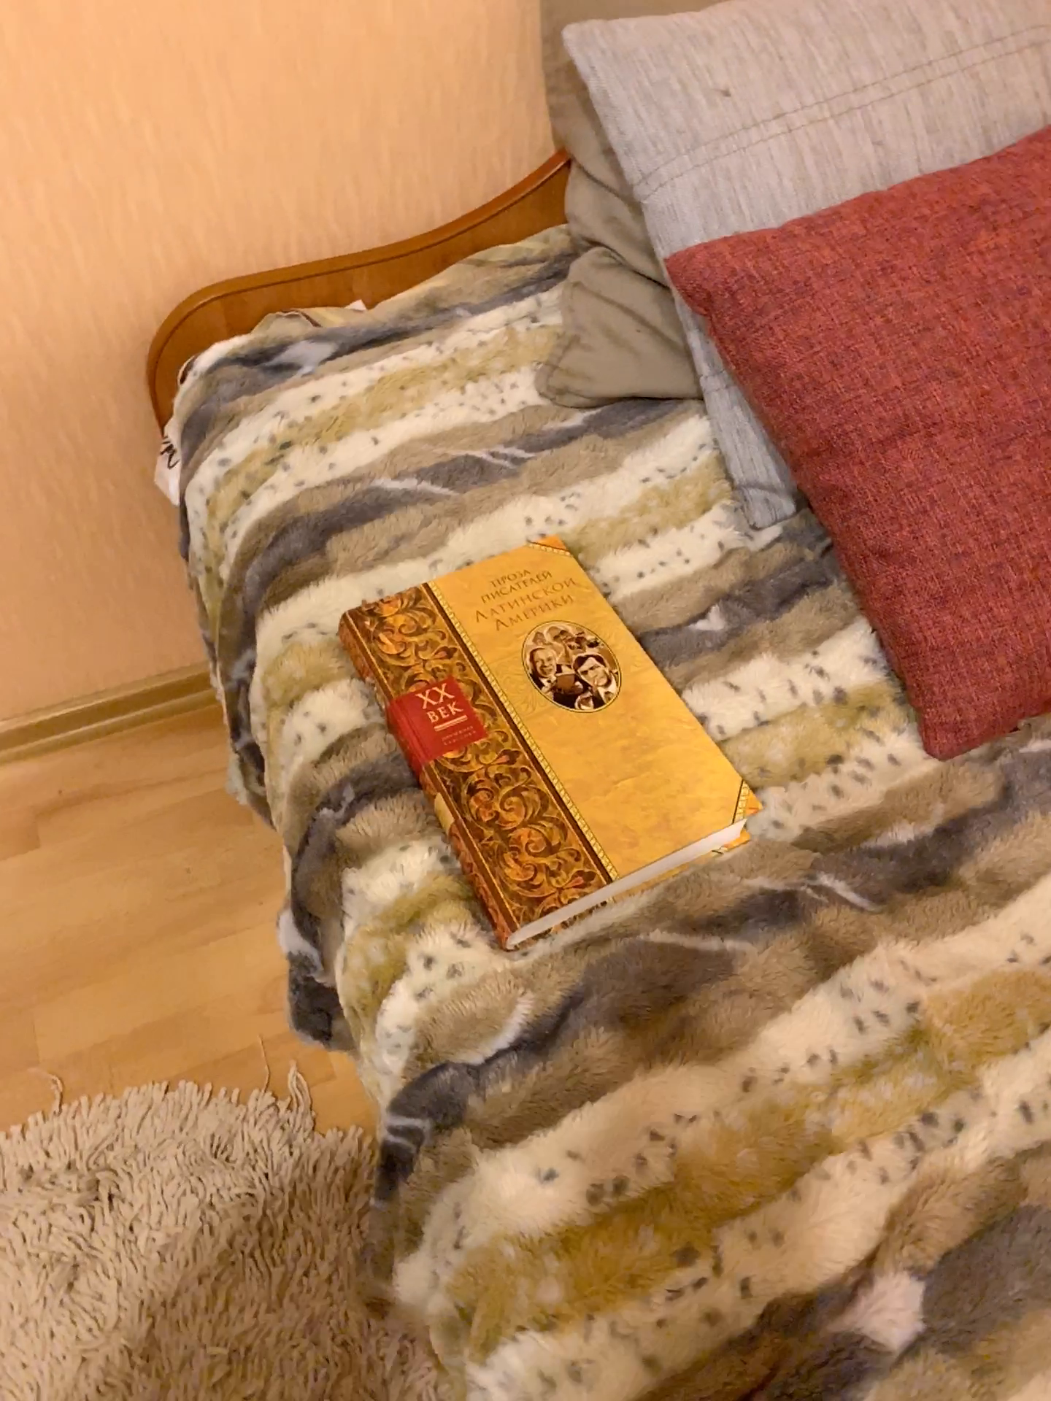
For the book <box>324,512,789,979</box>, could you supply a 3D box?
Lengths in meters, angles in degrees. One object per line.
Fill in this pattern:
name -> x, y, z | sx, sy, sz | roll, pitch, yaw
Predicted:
book -> 0.008, 0.012, 0.685 | 0.180, 0.060, 0.272 | -22, 55, -16
